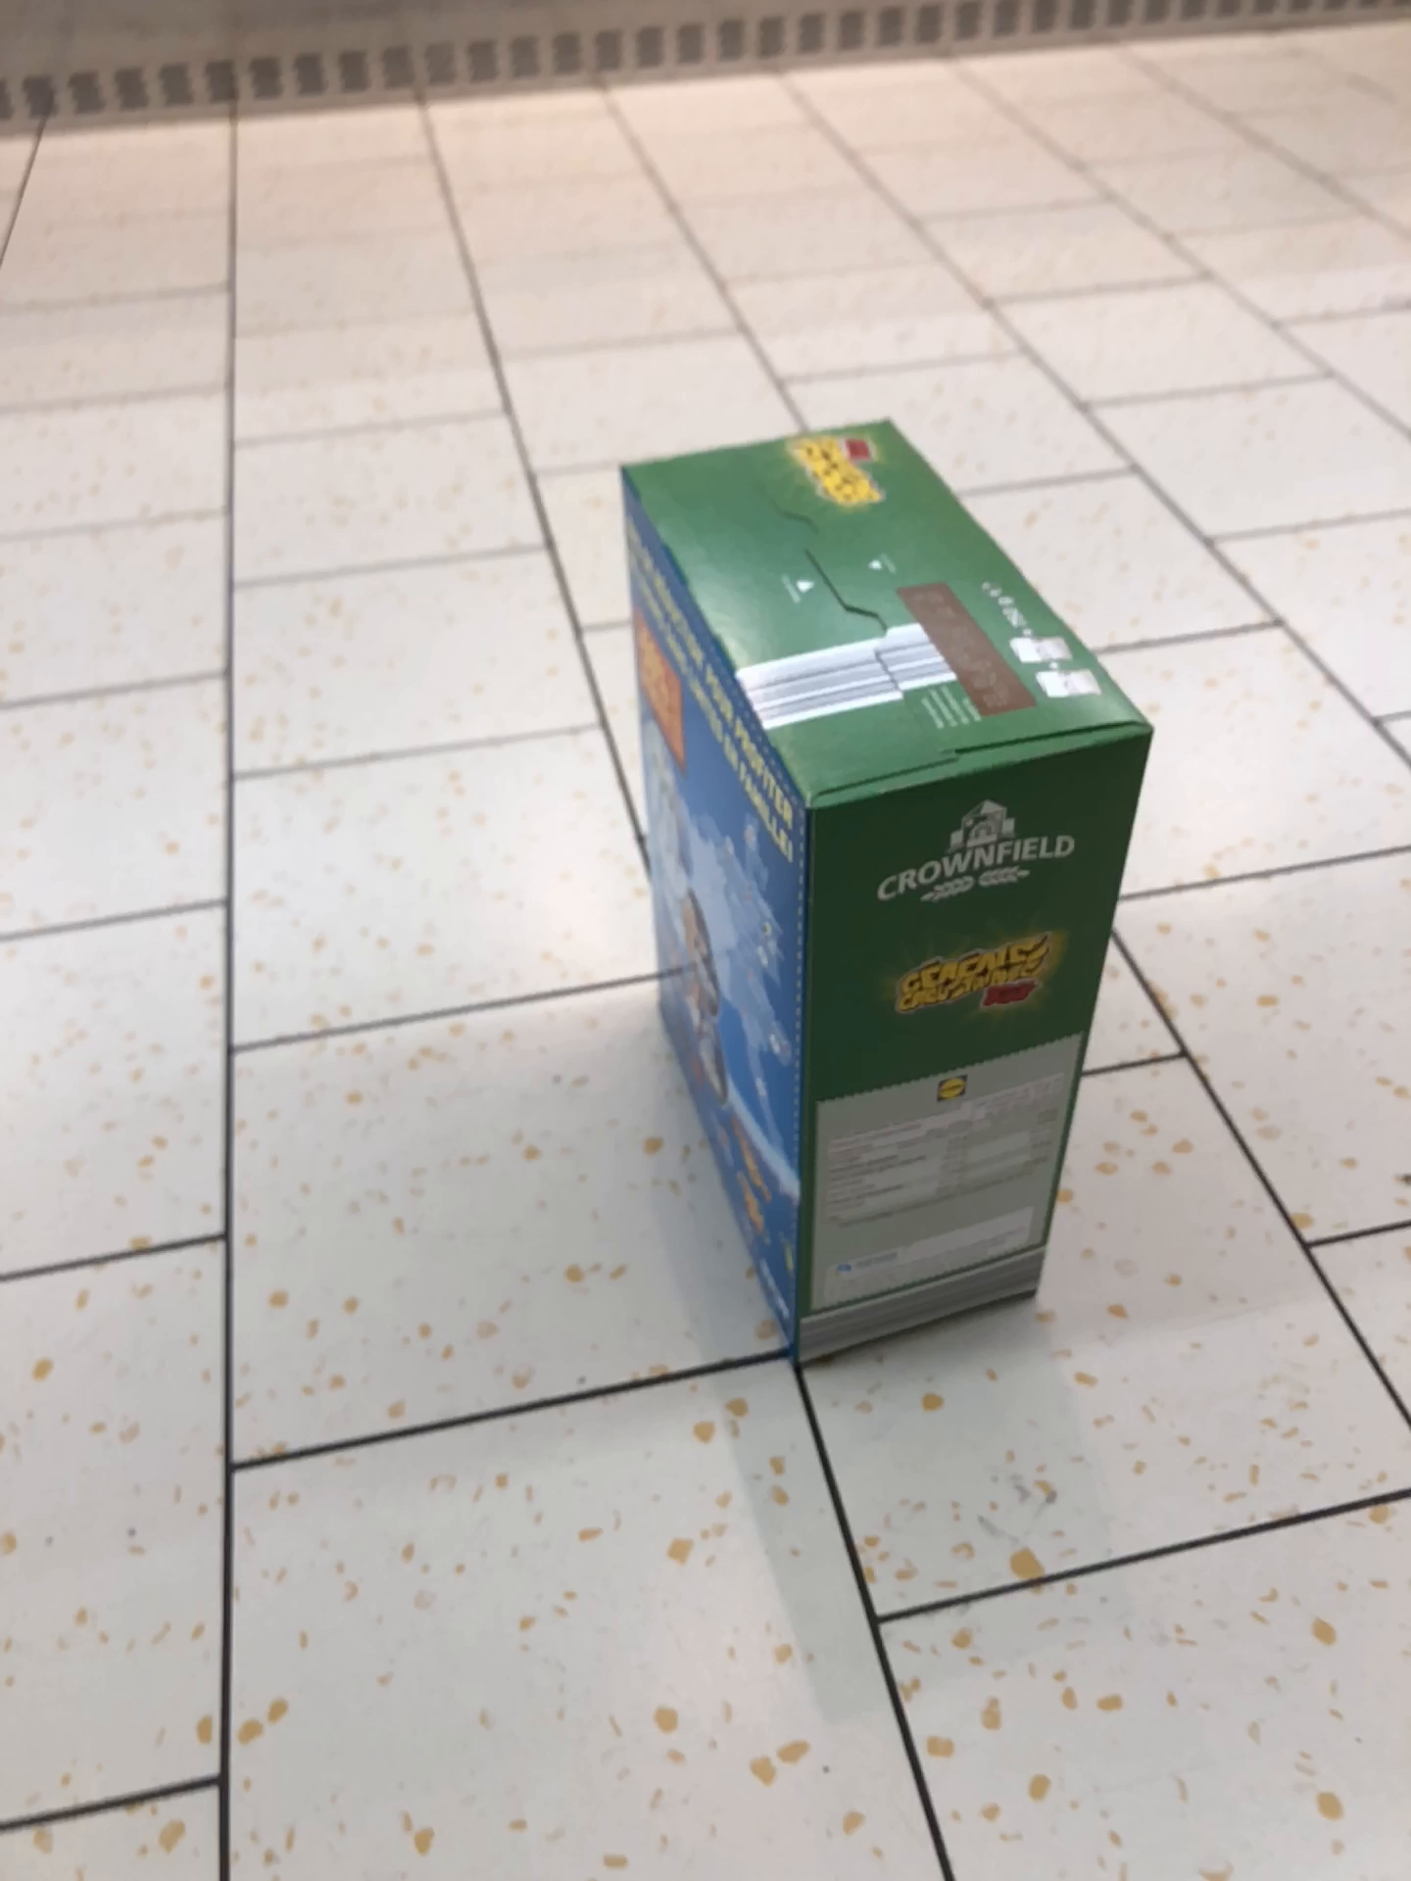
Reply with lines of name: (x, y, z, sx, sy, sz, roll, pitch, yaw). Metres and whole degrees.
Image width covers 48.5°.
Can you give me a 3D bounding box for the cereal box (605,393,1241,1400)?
cereal box: (0.055, -0.015, 0.545, 0.110, 0.258, 0.211, -13, 43, -12)
